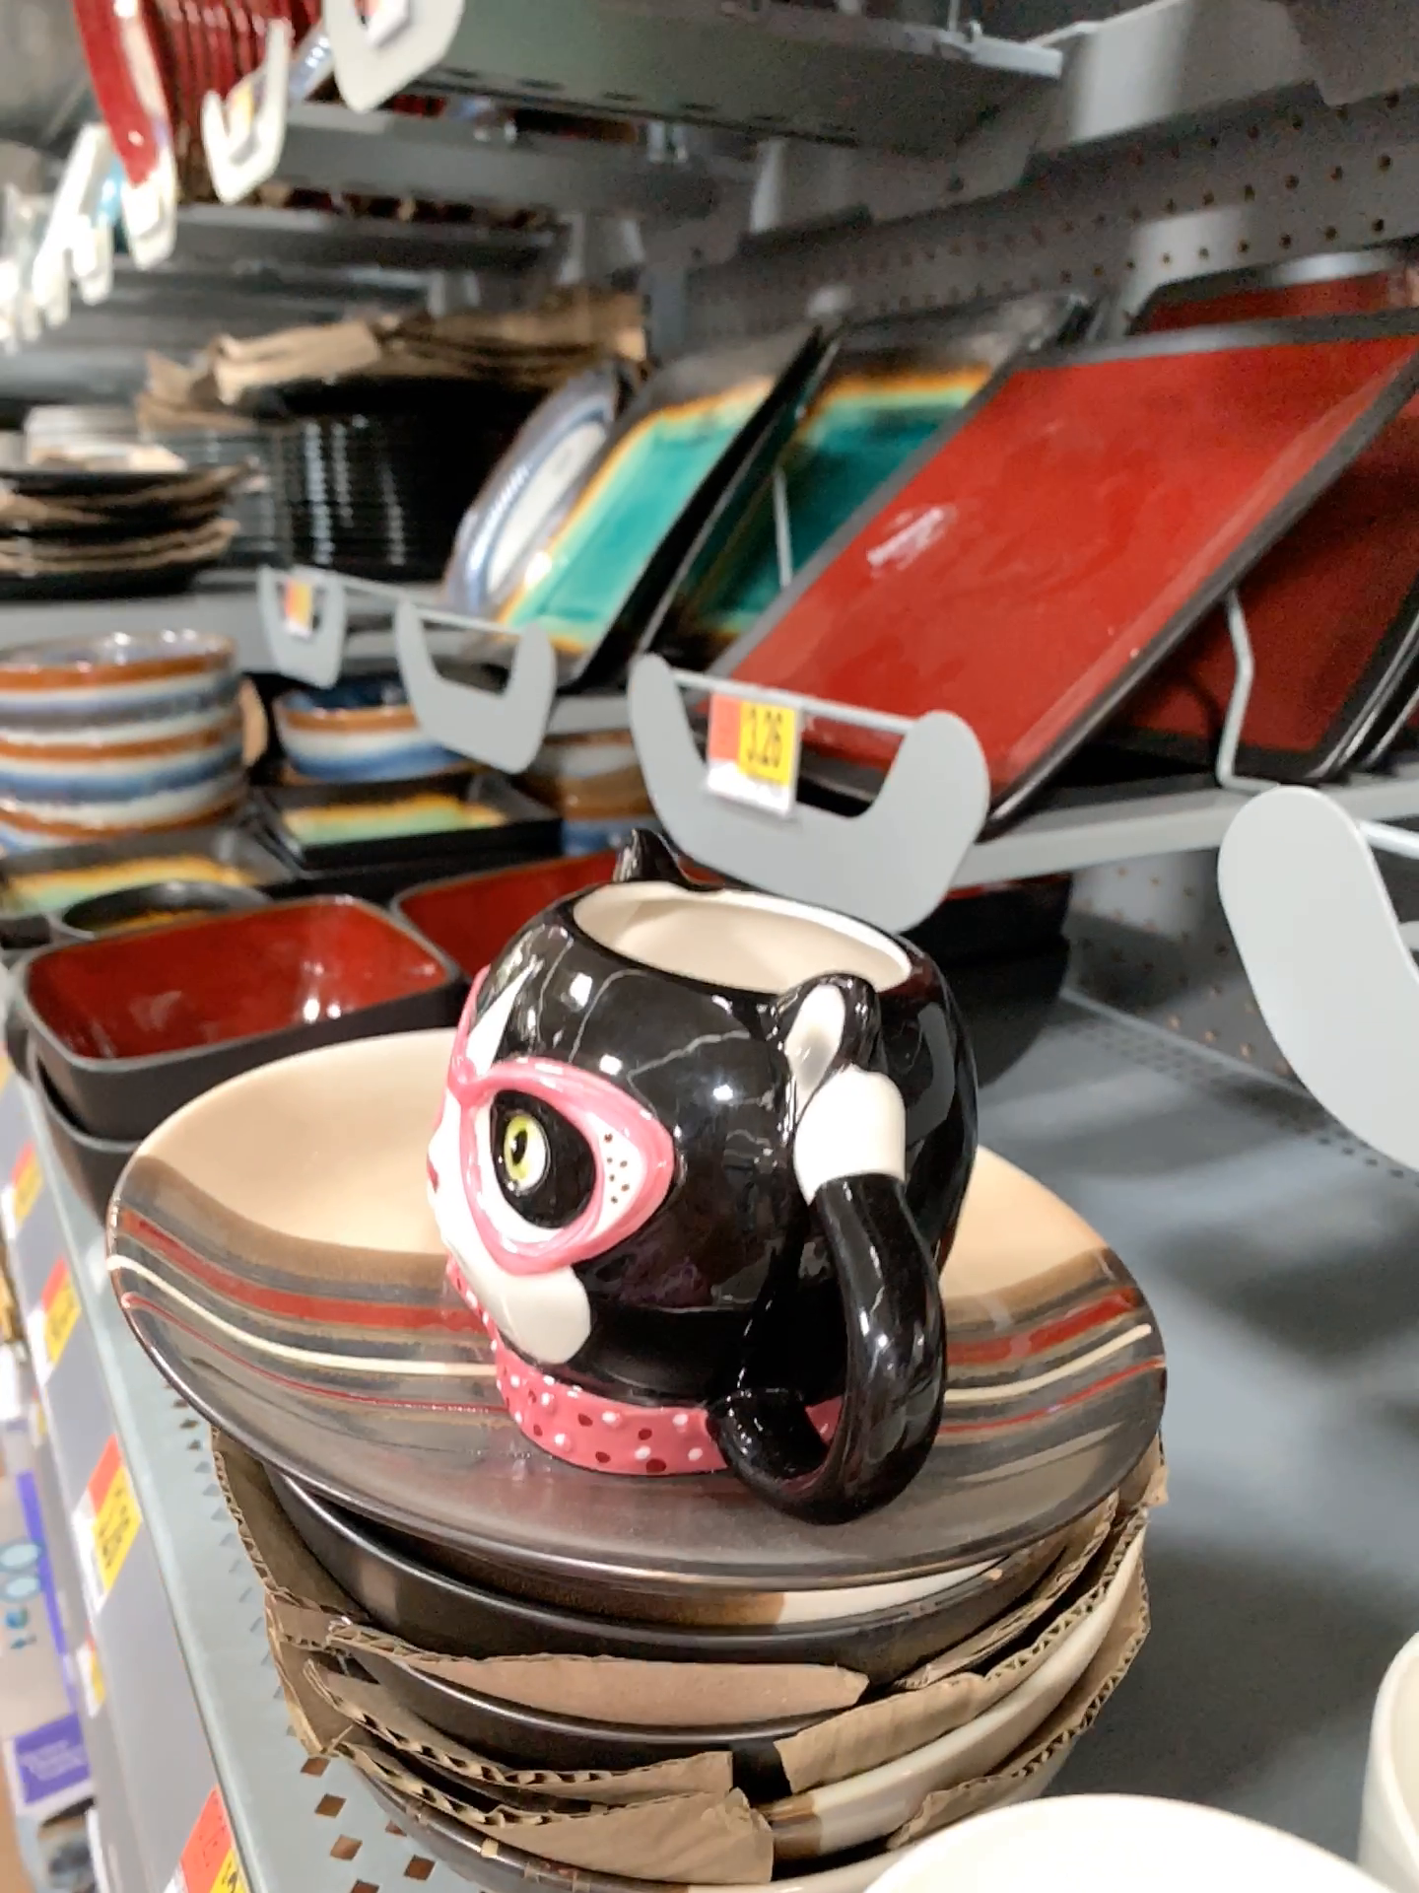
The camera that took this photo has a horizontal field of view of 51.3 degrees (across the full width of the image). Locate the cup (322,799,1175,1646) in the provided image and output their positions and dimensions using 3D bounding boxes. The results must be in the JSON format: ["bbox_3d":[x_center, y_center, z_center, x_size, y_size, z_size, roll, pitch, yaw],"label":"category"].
[{"bbox_3d":[-0.007,0.029,0.260,0.096,0.074,0.145,-7,19,-20],"label":"cup"}]
